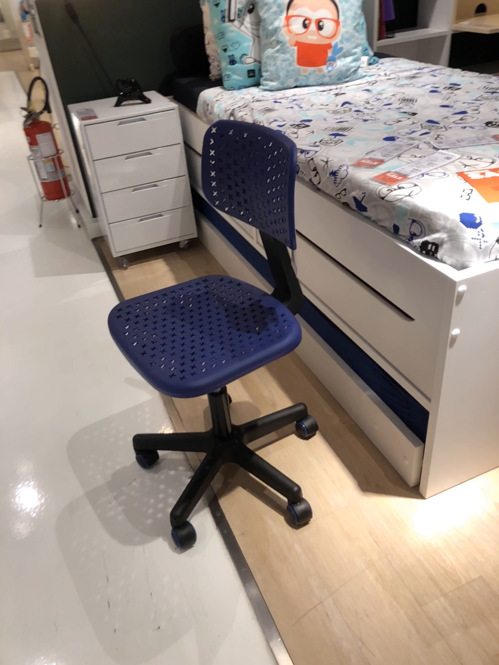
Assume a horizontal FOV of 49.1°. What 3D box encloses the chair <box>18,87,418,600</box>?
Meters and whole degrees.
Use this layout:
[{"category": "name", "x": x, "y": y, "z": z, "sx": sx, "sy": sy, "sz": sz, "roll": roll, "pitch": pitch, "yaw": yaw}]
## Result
[{"category": "chair", "x": -0.065, "y": -0.010, "z": 1.172, "sx": 0.521, "sy": 0.814, "sz": 0.554, "roll": -19, "pitch": 36, "yaw": -19}]
